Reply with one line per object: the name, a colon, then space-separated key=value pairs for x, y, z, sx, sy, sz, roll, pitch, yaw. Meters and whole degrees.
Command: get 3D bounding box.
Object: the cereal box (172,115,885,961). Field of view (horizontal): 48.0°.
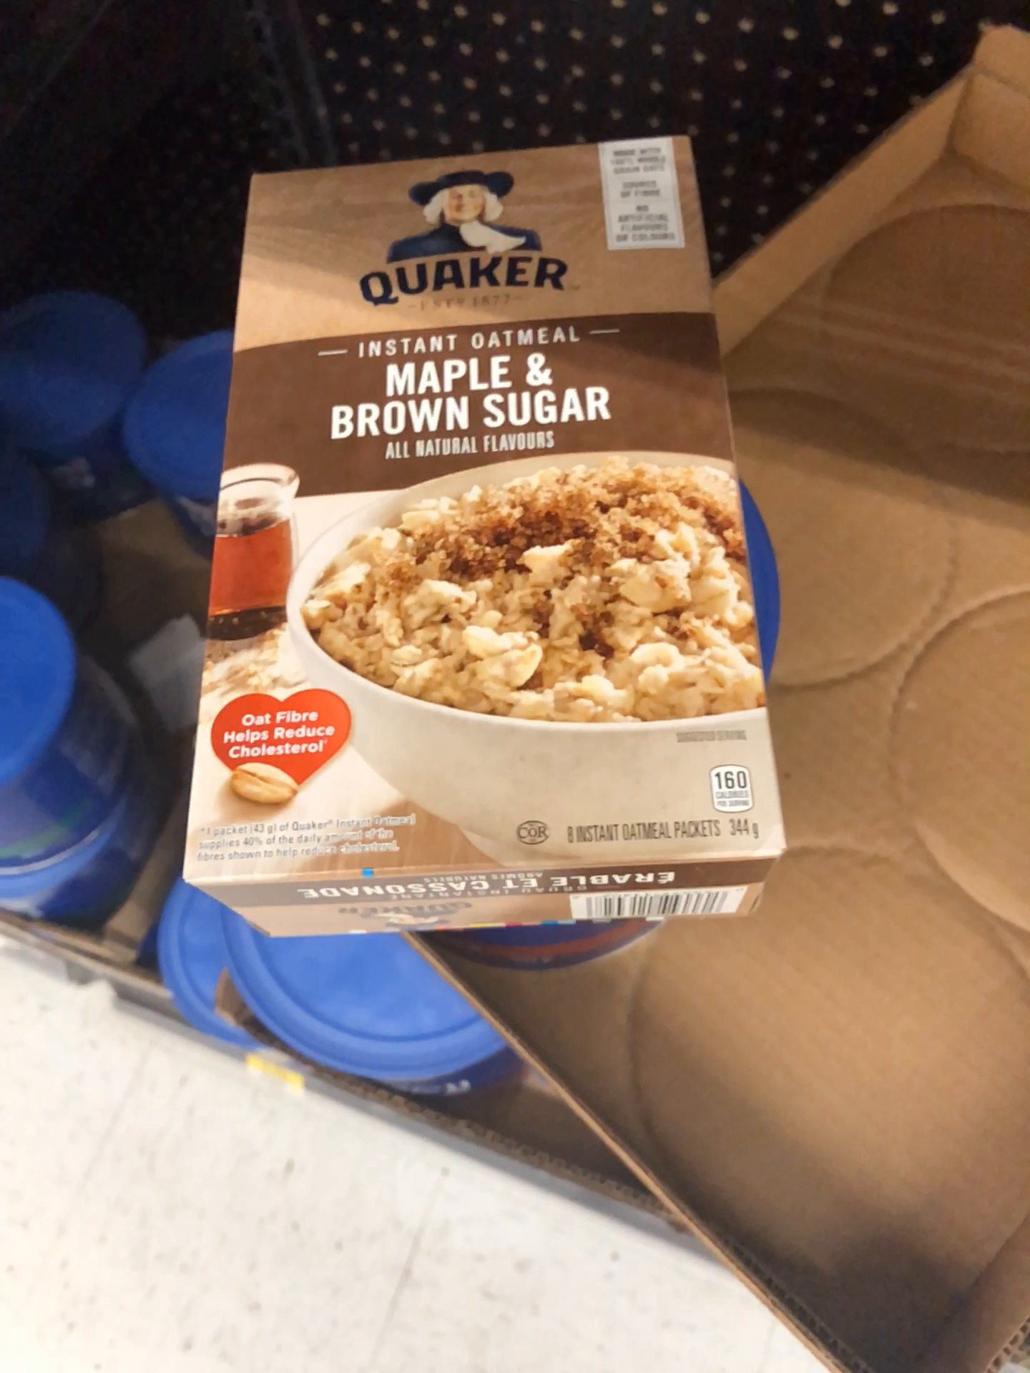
cereal box: x=0.001 y=-0.040 z=0.298 sx=0.140 sy=0.070 sz=0.200 roll=-3 pitch=67 yaw=3
